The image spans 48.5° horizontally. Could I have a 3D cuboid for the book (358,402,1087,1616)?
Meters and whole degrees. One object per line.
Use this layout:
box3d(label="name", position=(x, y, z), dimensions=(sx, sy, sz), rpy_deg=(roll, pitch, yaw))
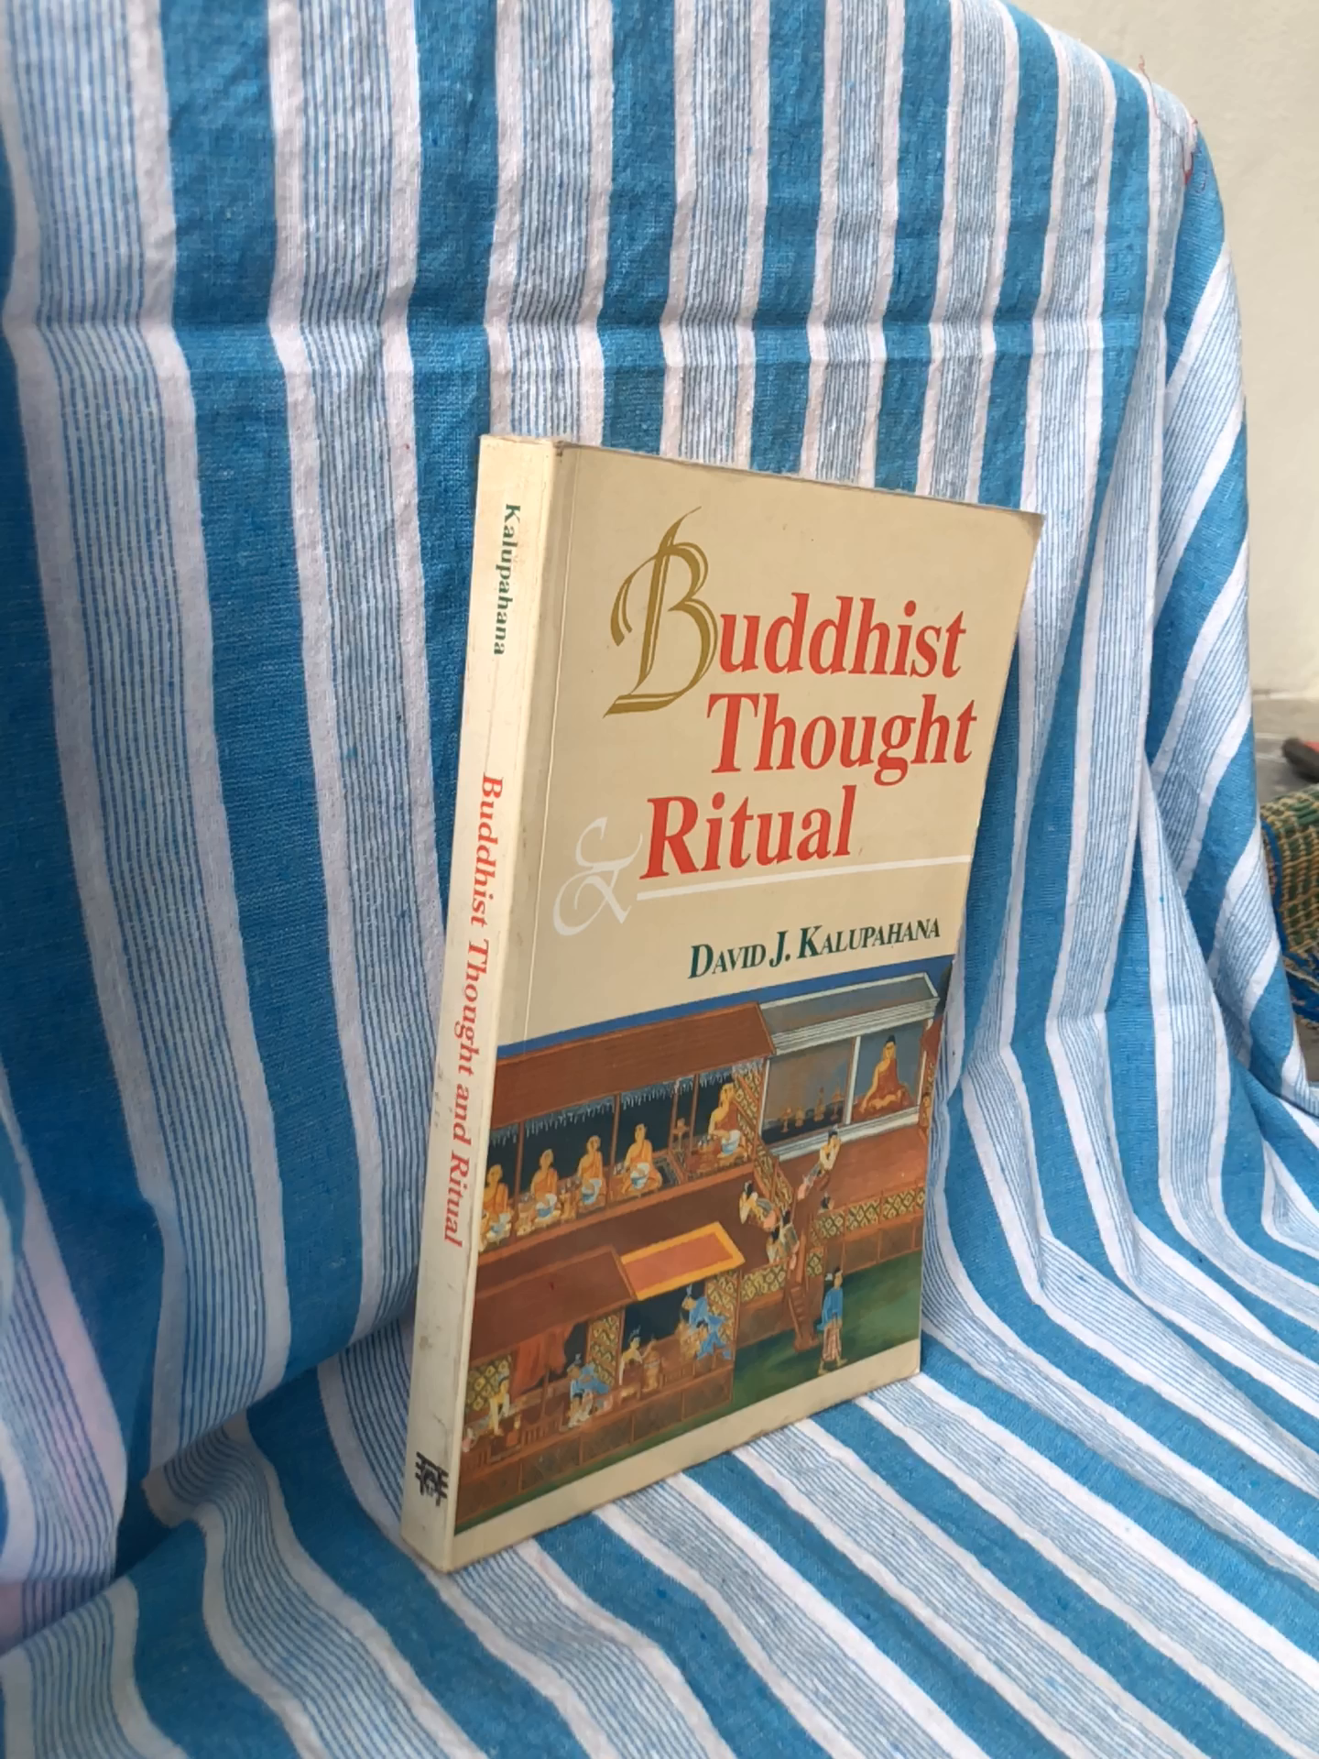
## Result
box3d(label="book", position=(0.017, 0.025, 0.307), dimensions=(0.151, 0.219, 0.020), rpy_deg=(-5, 19, -41))
